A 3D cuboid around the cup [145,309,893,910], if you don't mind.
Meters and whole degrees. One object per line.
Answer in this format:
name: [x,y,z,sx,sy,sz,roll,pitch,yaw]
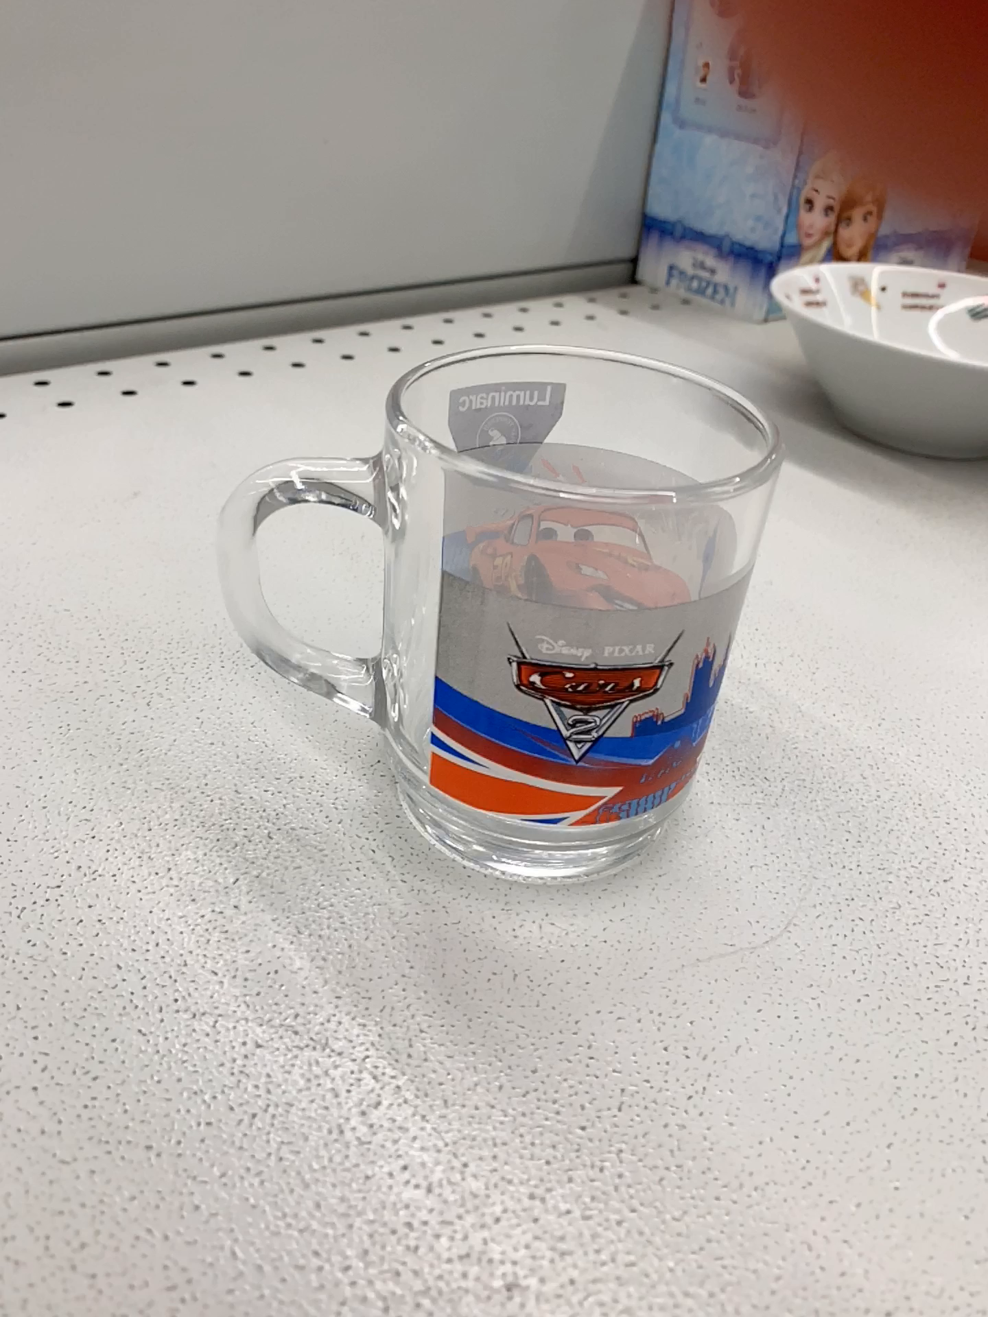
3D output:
cup: [-0.001,-0.011,0.200,0.108,0.087,0.071,0,35,-8]
